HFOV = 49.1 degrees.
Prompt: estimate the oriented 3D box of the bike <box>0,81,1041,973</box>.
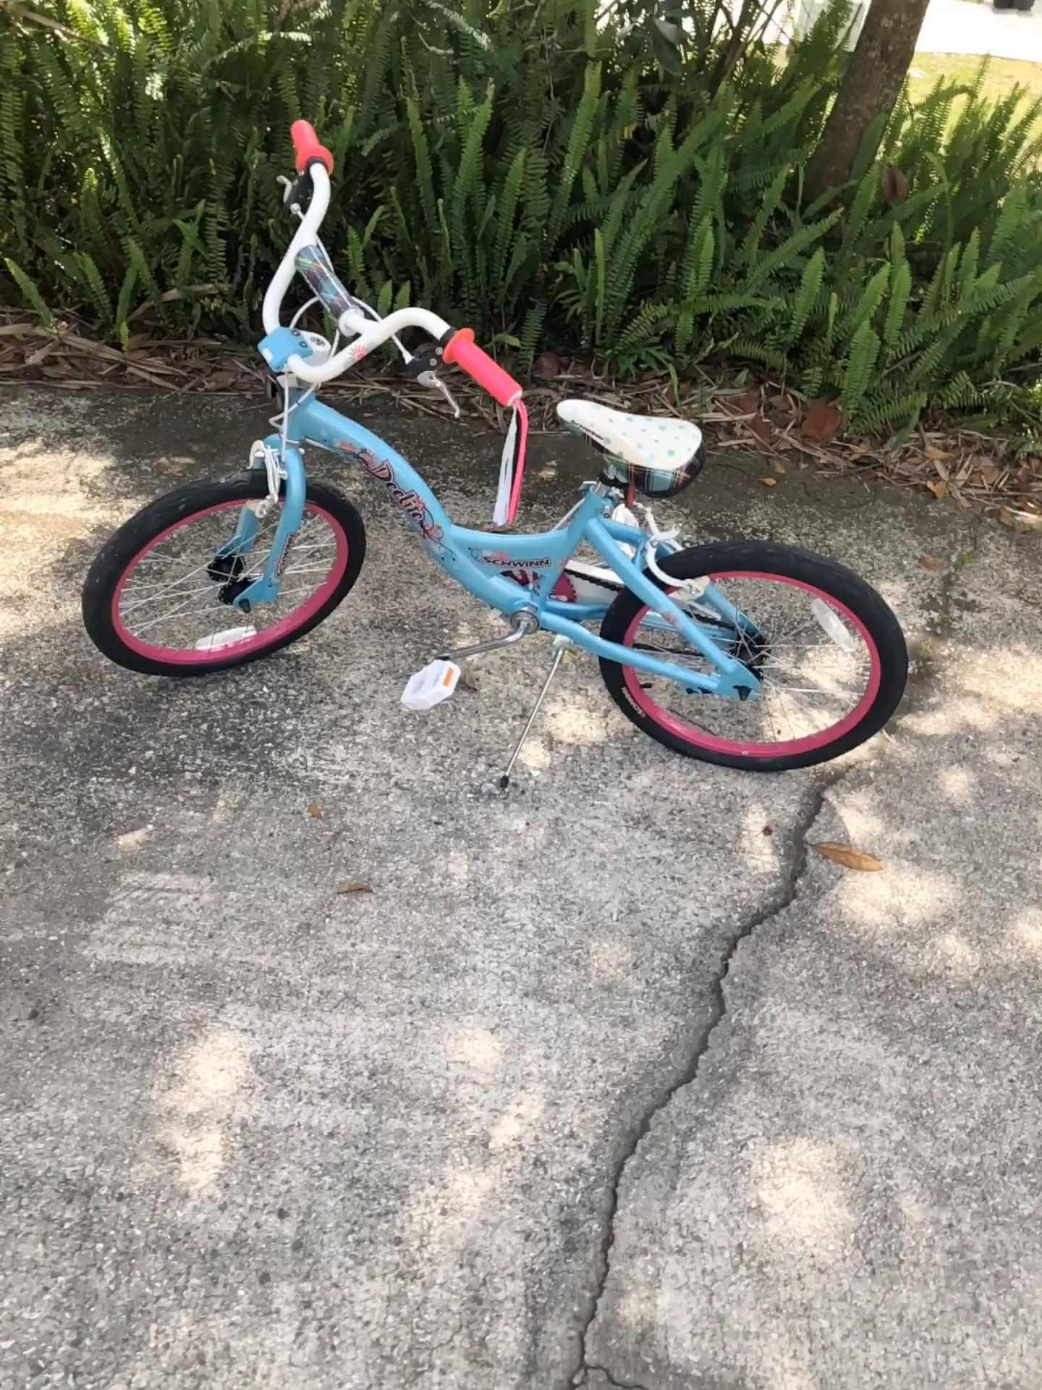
[{"bbox_3d":[-0.039,-0.243,1.655,1.308,0.923,0.703,7,37,1],"label":"bike"}]
